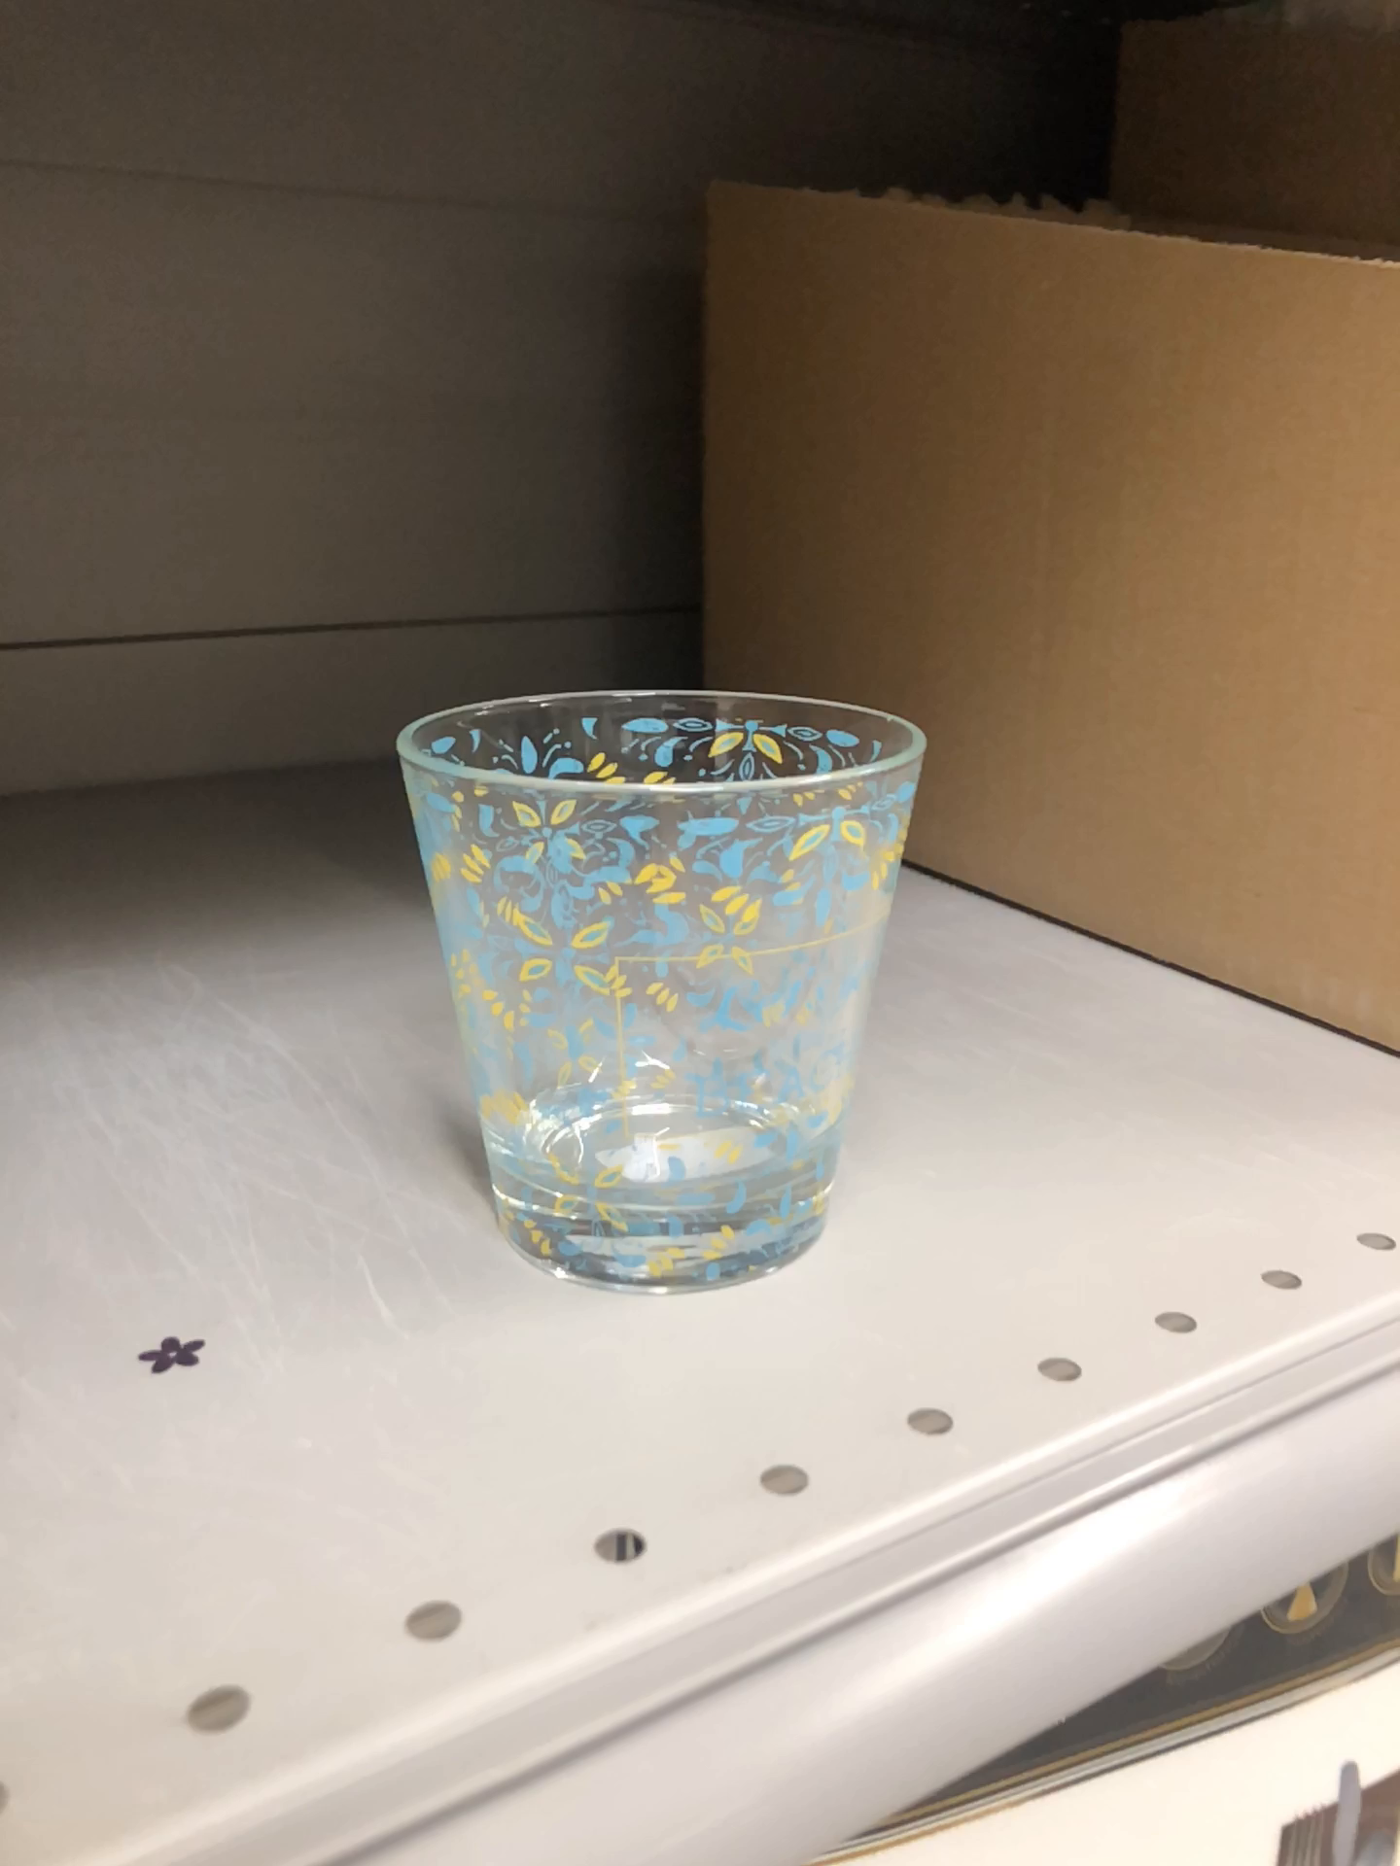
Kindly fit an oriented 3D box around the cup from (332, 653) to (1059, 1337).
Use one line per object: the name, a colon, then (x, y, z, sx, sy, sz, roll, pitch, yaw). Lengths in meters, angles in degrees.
cup: (-0.003, 0.001, 0.271, 0.089, 0.080, 0.083, 3, 19, -1)
